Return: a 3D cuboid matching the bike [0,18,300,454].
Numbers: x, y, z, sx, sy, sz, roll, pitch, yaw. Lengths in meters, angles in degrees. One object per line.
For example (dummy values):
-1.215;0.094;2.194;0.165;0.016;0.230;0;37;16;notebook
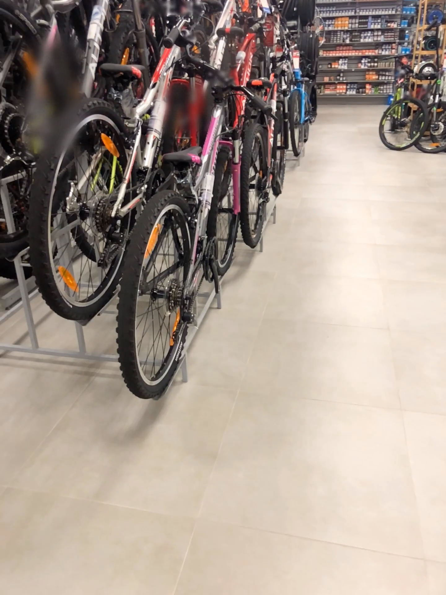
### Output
-0.085;-0.468;1.863;0.598;0.990;1.615;4;29;11;bike
